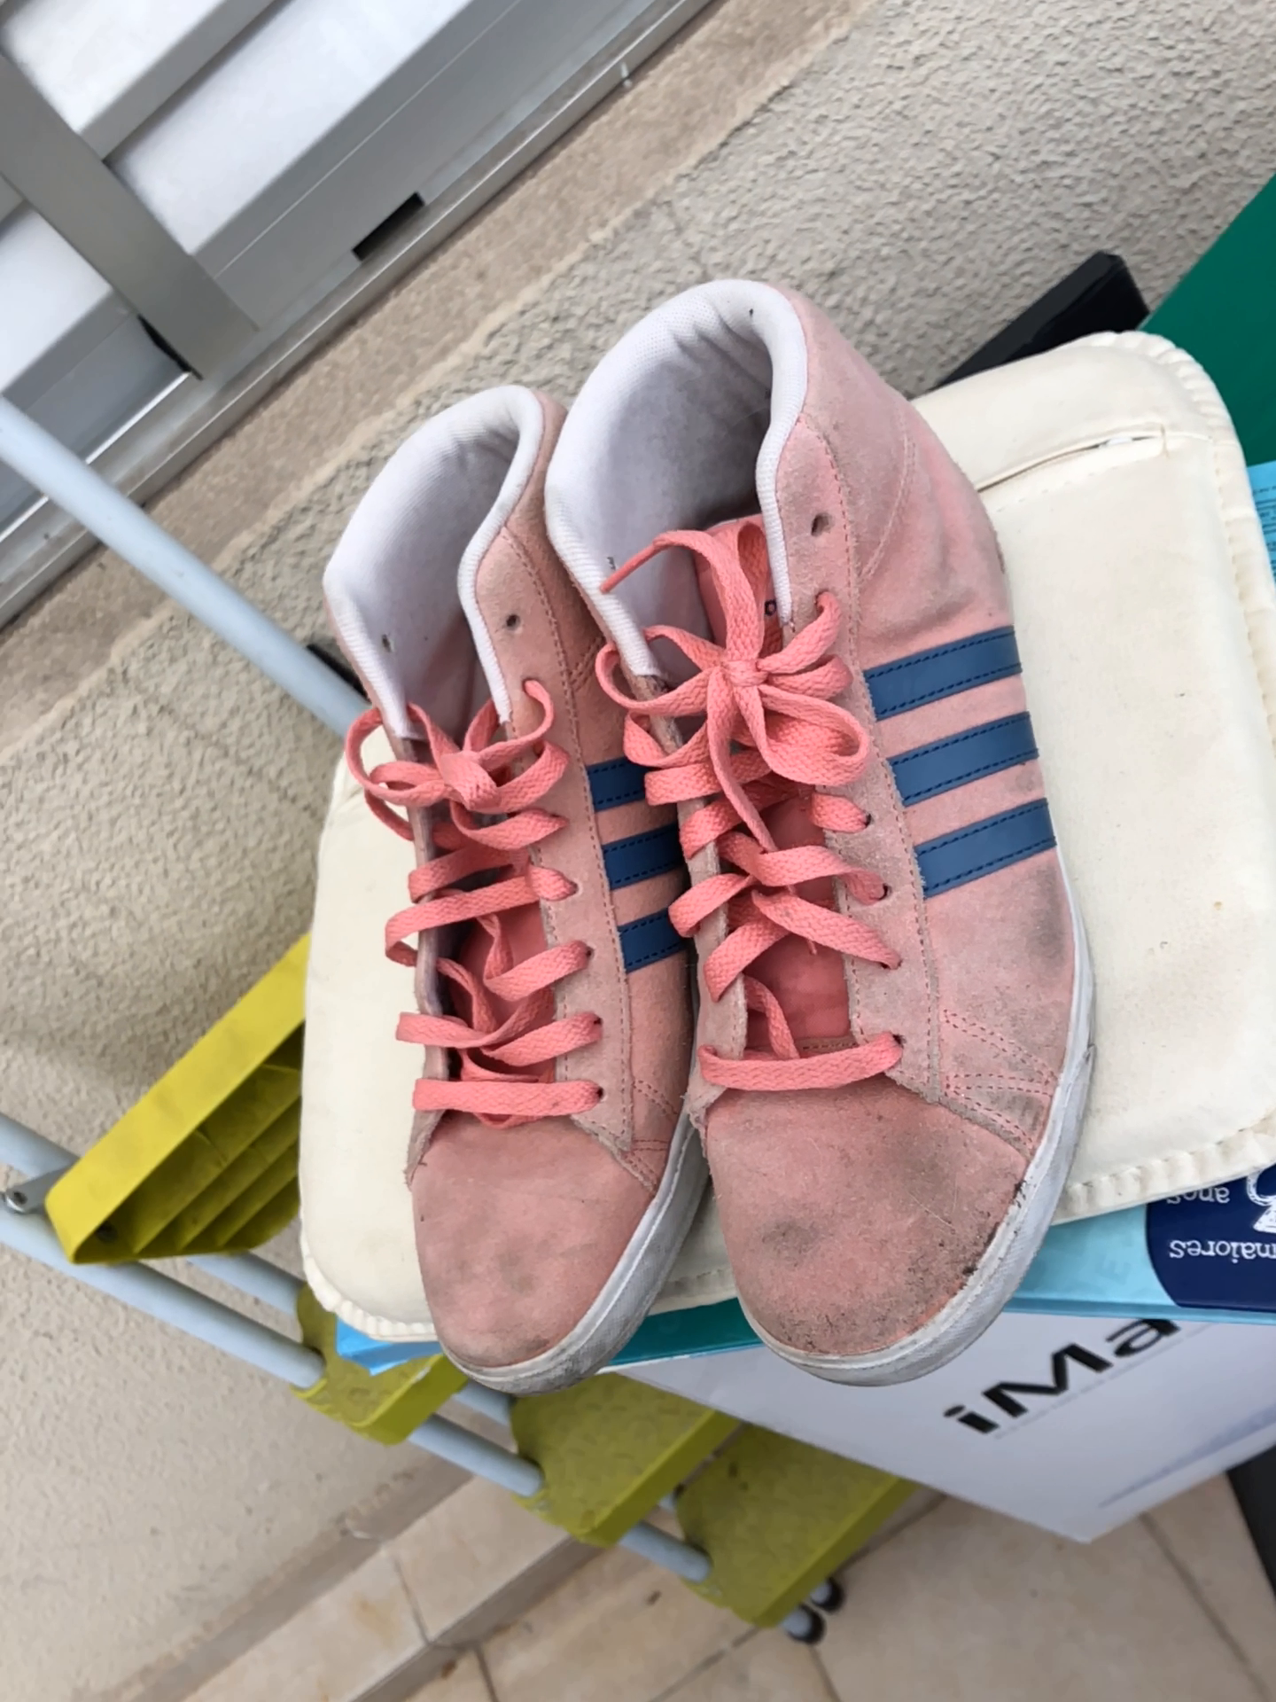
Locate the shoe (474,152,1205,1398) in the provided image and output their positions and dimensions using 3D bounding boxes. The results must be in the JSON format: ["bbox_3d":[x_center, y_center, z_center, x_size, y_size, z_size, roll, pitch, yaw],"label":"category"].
[{"bbox_3d":[0.052,-0.015,0.337,0.100,0.129,0.251,-13,57,26],"label":"shoe"}]

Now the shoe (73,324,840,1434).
[{"bbox_3d":[-0.028,0.009,0.383,0.100,0.129,0.251,-6,60,30],"label":"shoe"}]
